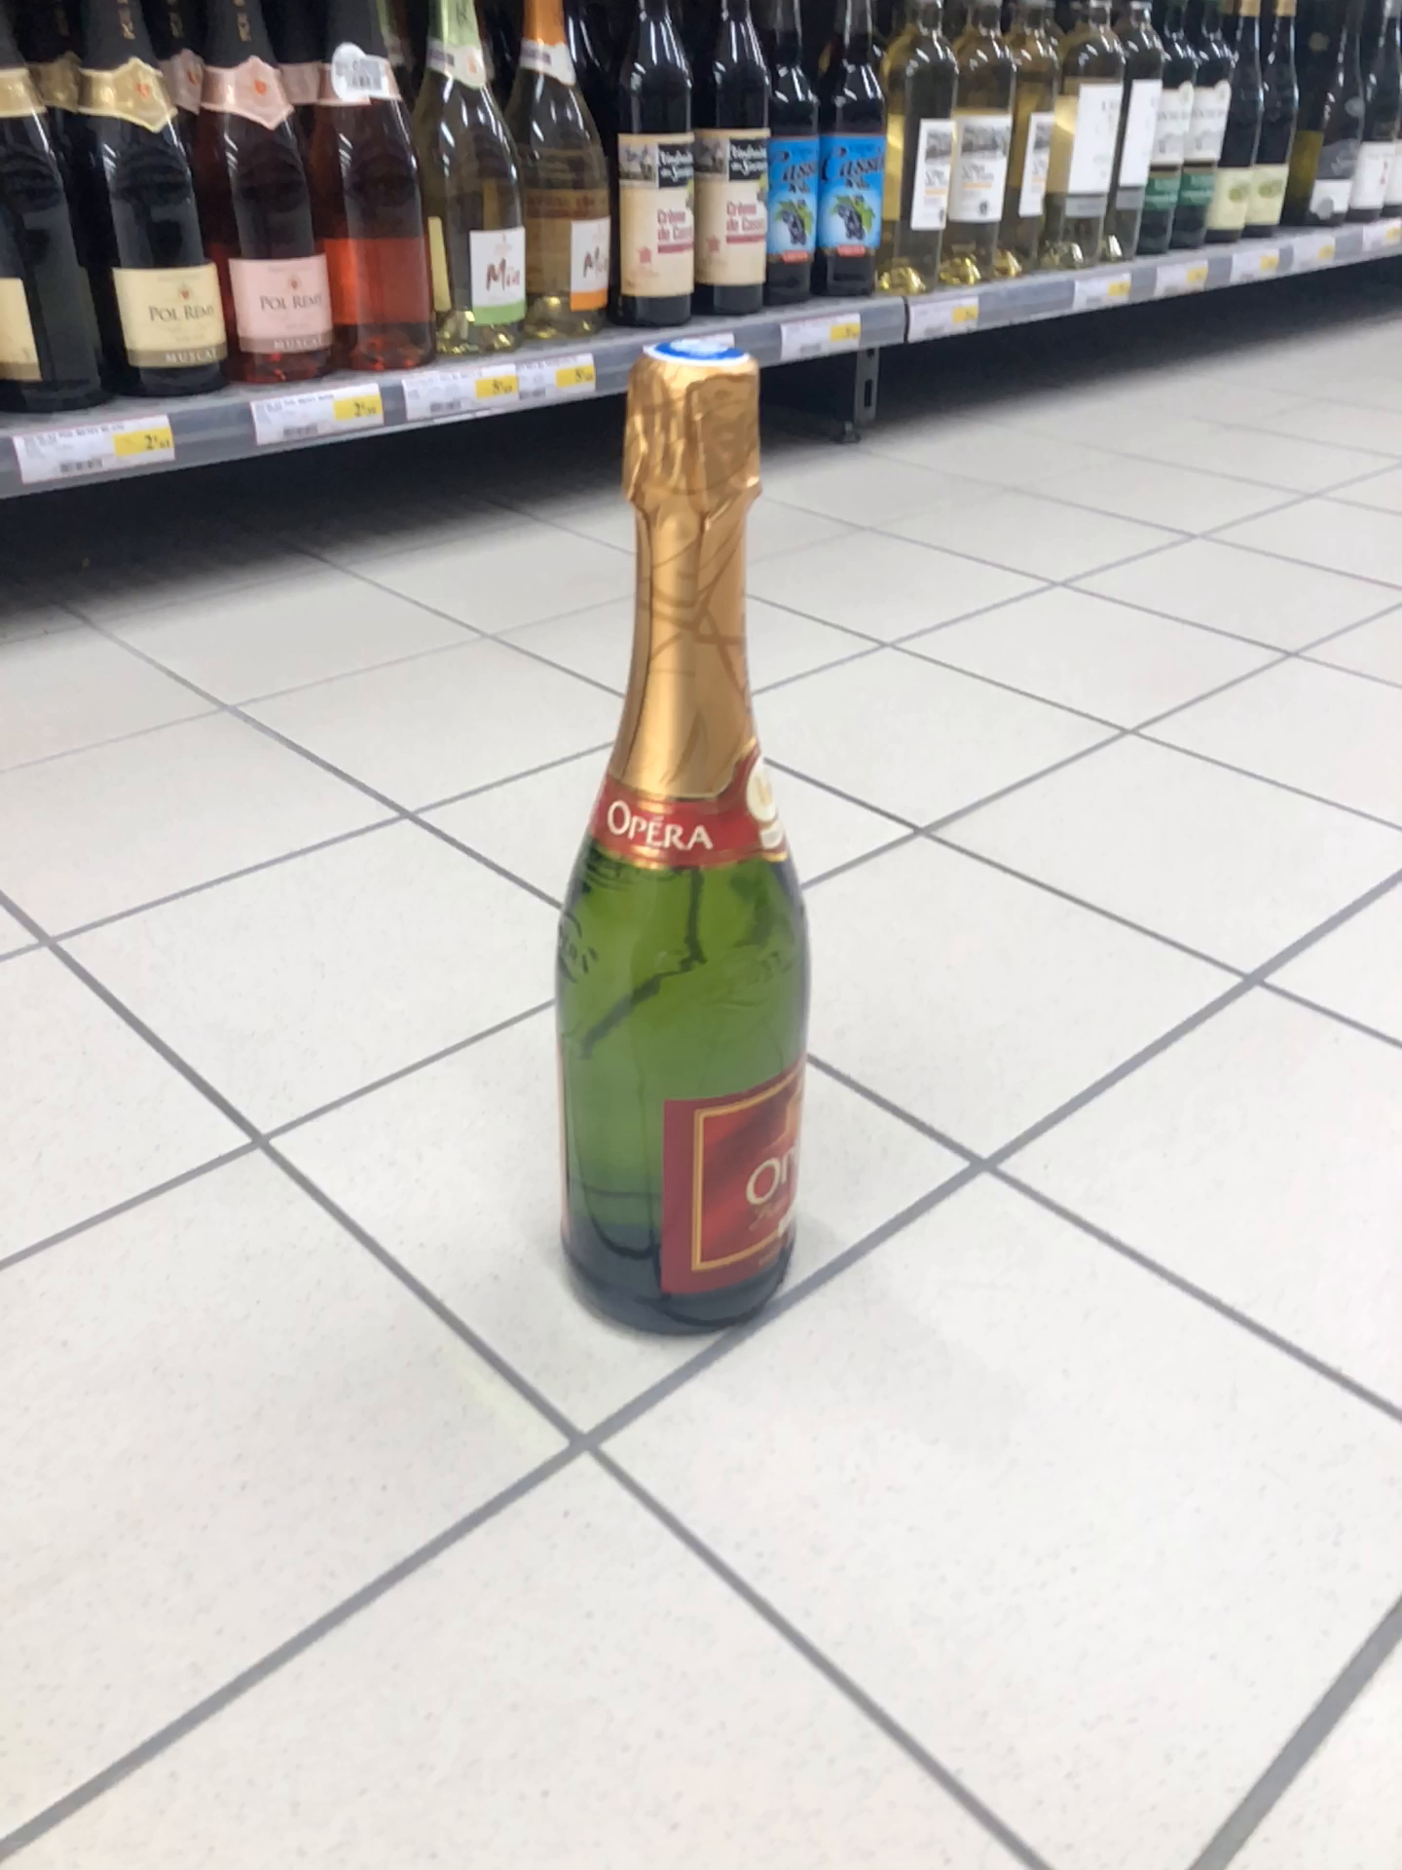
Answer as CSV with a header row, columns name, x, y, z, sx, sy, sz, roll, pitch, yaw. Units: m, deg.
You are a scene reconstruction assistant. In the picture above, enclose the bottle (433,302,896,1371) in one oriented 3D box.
name,x,y,z,sx,sy,sz,roll,pitch,yaw
bottle,-0.008,-0.022,0.461,0.090,0.298,0.091,1,29,0
